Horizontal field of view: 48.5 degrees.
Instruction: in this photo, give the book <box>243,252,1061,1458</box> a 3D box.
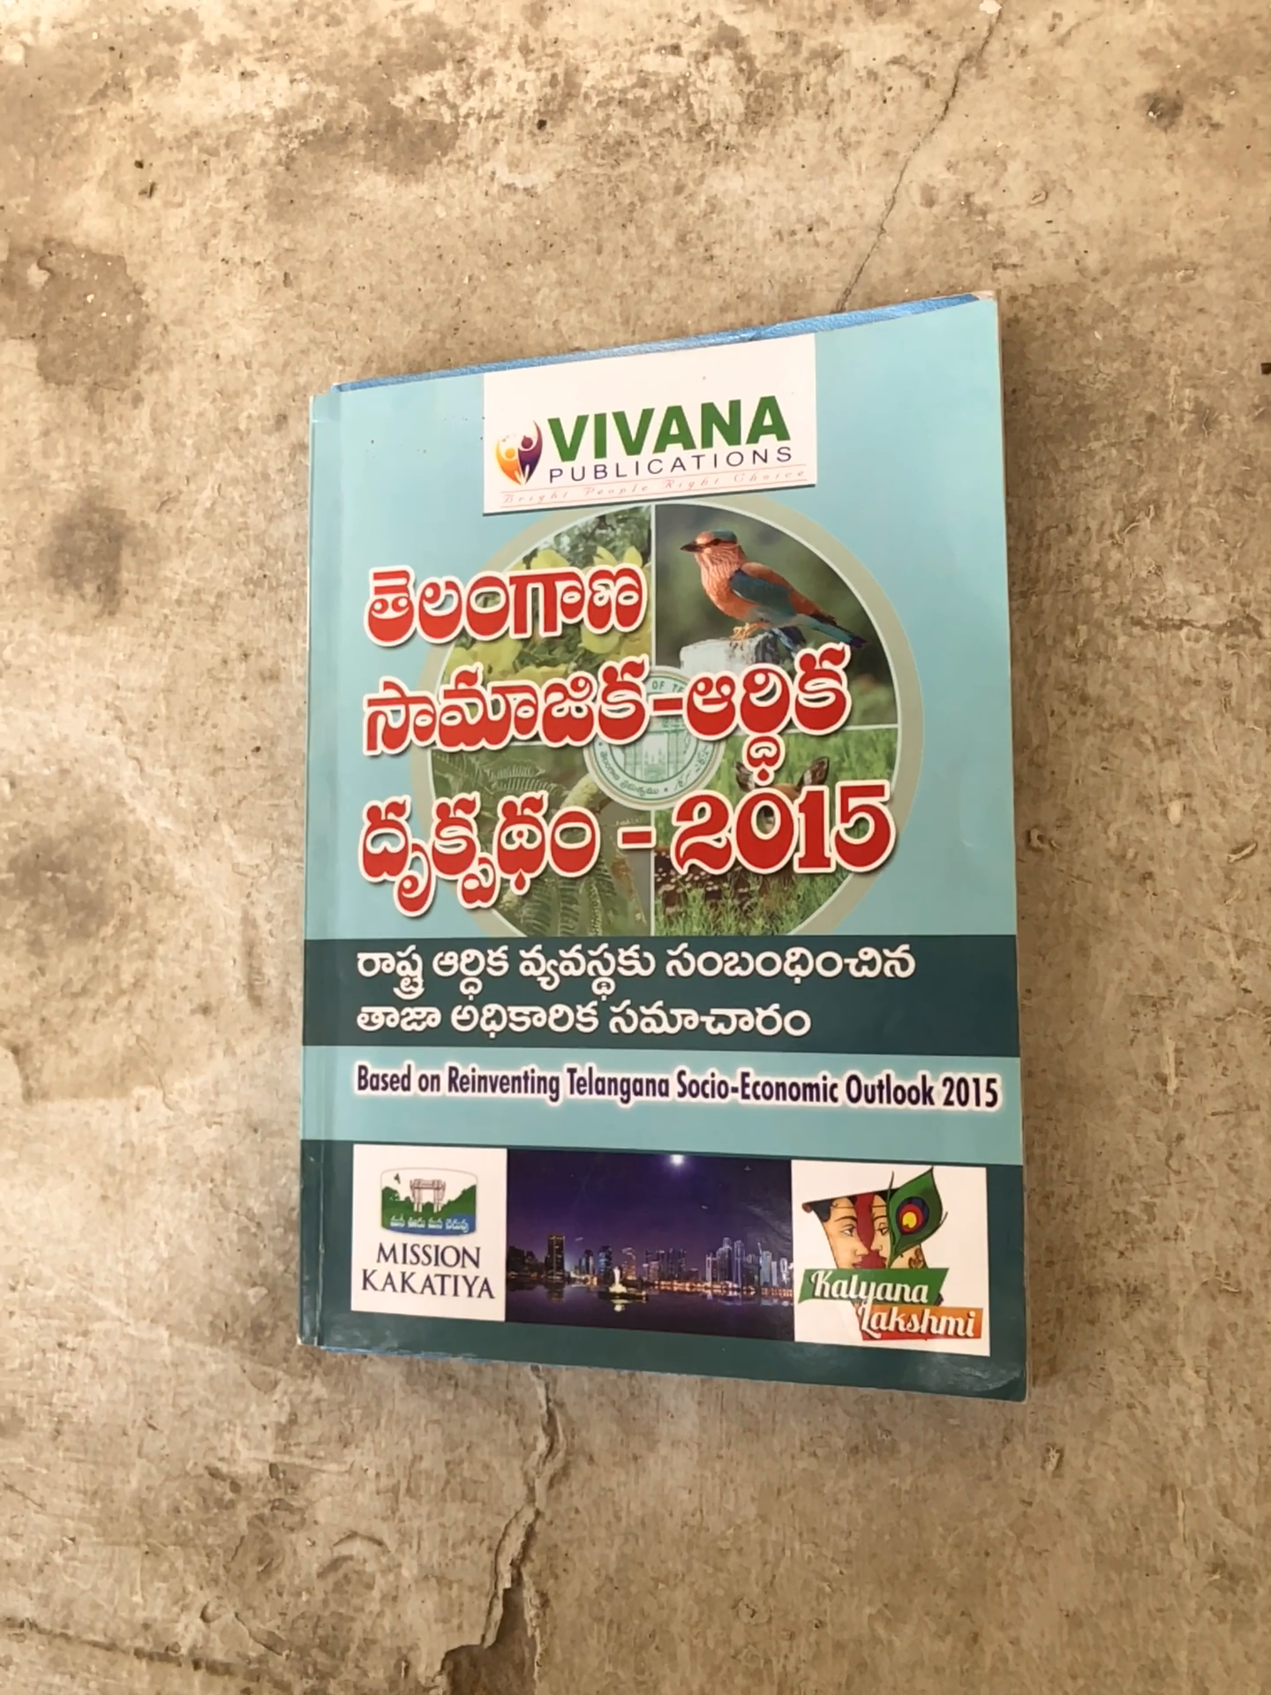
[{"bbox_3d":[0.000,0.000,0.357,0.200,0.030,0.270,-1,85,16],"label":"book"}]
